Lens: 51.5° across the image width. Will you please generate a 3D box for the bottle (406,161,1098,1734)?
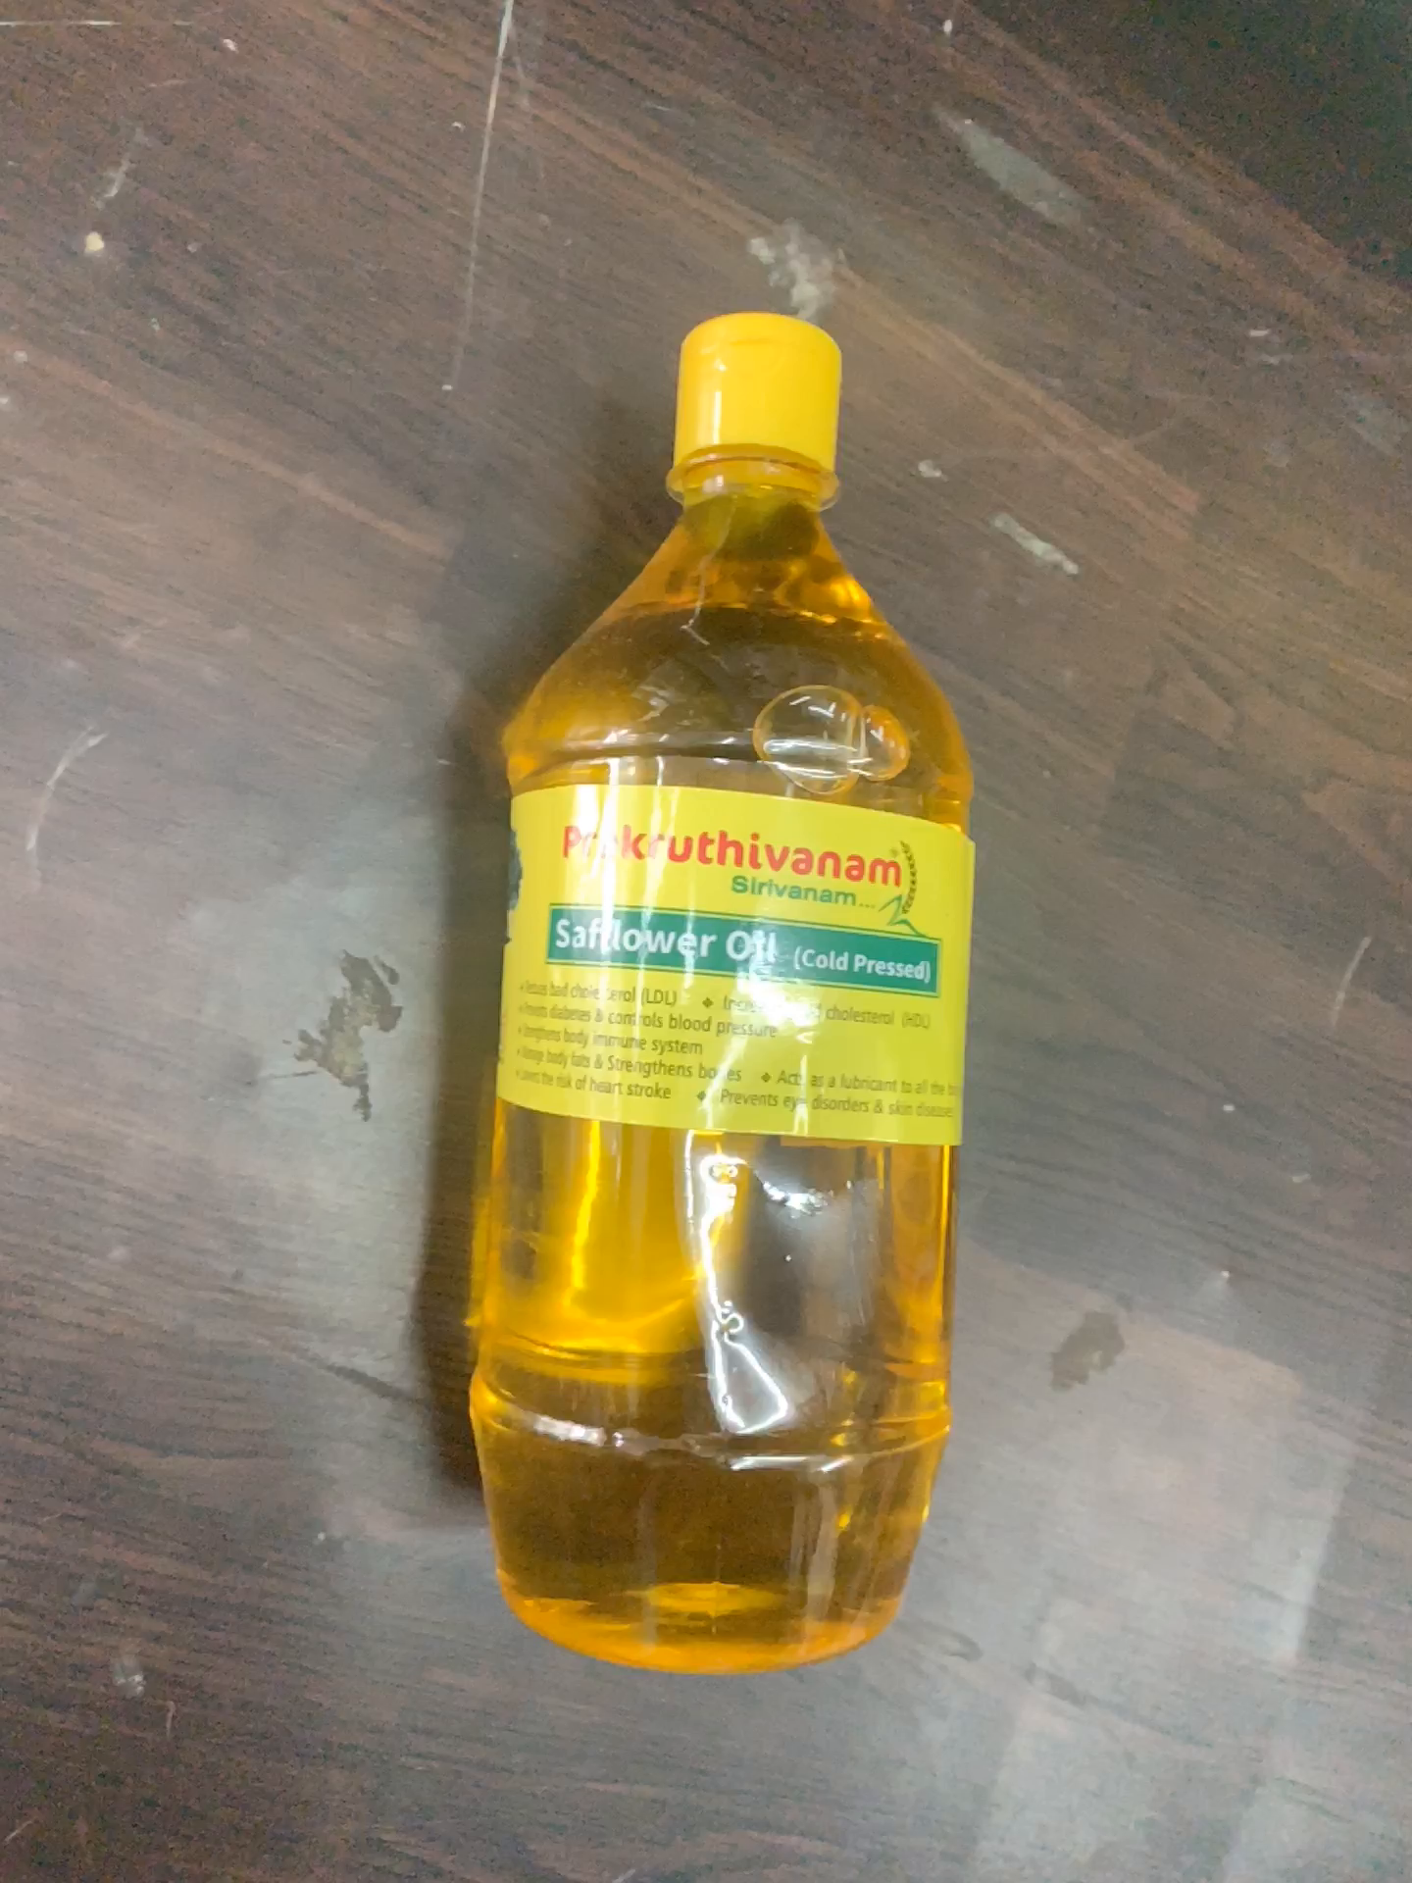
[{"bbox_3d":[0.006,0.001,0.259,0.090,0.080,0.230,4,88,-3],"label":"bottle"}]
